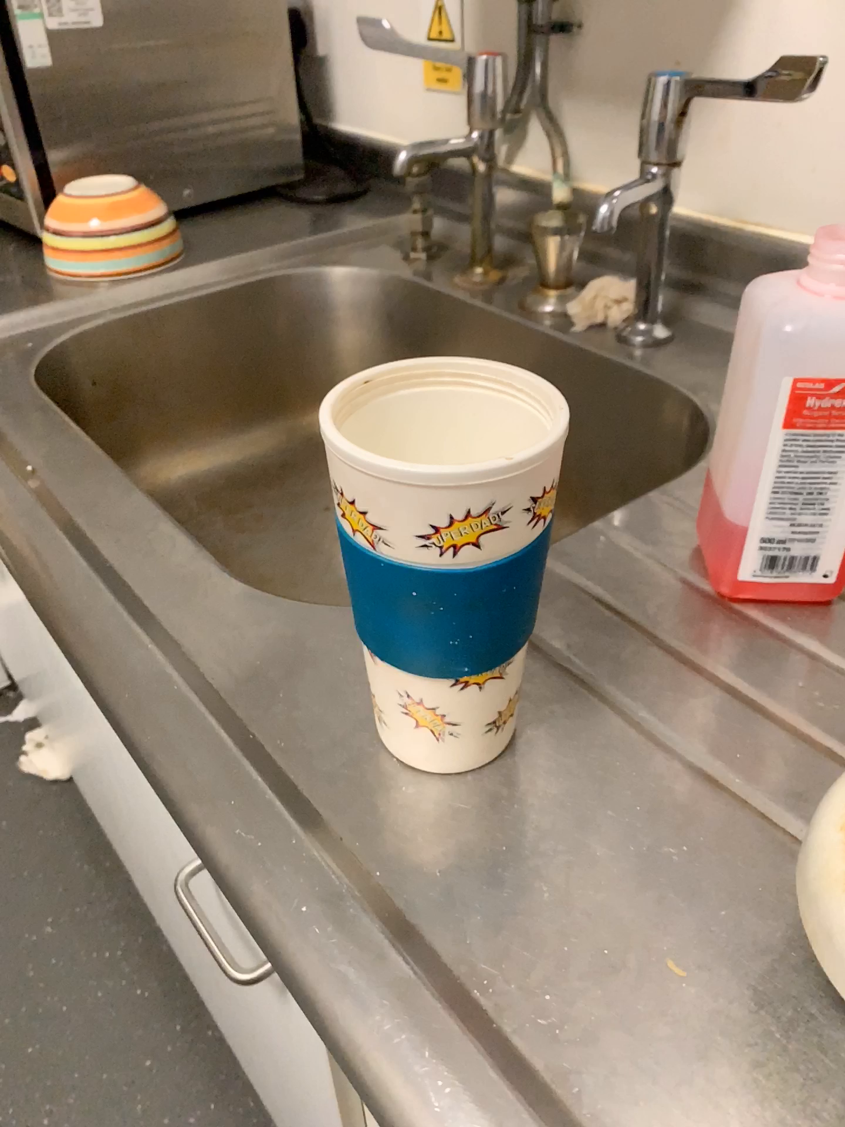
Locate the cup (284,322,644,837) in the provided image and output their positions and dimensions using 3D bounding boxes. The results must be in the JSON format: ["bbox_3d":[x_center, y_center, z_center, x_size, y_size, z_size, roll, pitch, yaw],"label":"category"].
[{"bbox_3d":[0.014,0.006,0.357,0.093,0.167,0.090,-1,36,1],"label":"cup"}]
